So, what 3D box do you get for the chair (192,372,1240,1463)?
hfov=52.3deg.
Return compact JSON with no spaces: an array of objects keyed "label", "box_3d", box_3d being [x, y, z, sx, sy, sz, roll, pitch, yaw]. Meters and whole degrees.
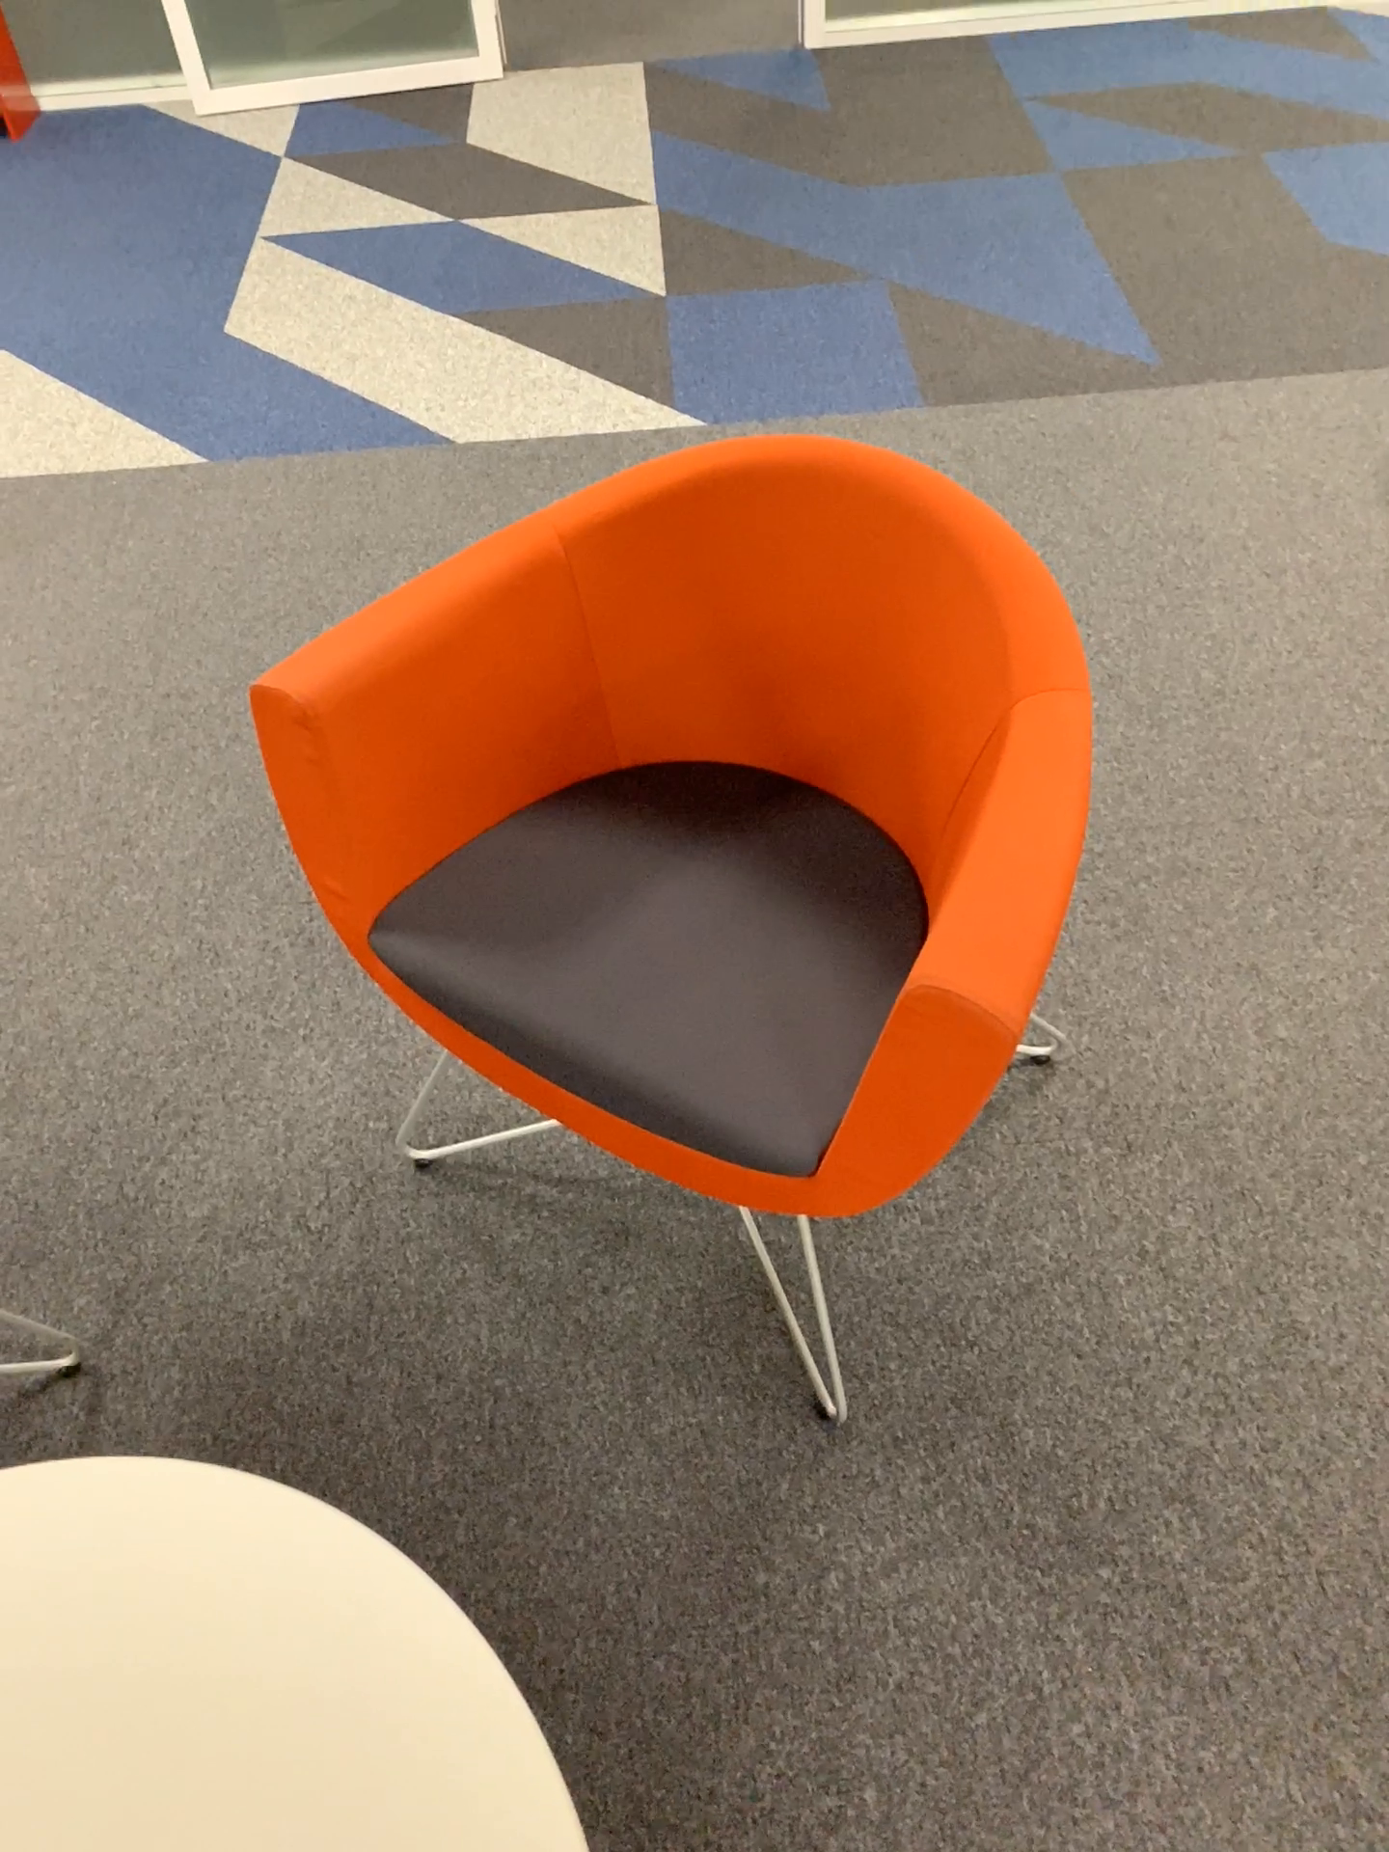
[{"label":"chair","box_3d":[0.050,-0.019,1.447,0.641,0.707,0.622,25,55,24]}]
